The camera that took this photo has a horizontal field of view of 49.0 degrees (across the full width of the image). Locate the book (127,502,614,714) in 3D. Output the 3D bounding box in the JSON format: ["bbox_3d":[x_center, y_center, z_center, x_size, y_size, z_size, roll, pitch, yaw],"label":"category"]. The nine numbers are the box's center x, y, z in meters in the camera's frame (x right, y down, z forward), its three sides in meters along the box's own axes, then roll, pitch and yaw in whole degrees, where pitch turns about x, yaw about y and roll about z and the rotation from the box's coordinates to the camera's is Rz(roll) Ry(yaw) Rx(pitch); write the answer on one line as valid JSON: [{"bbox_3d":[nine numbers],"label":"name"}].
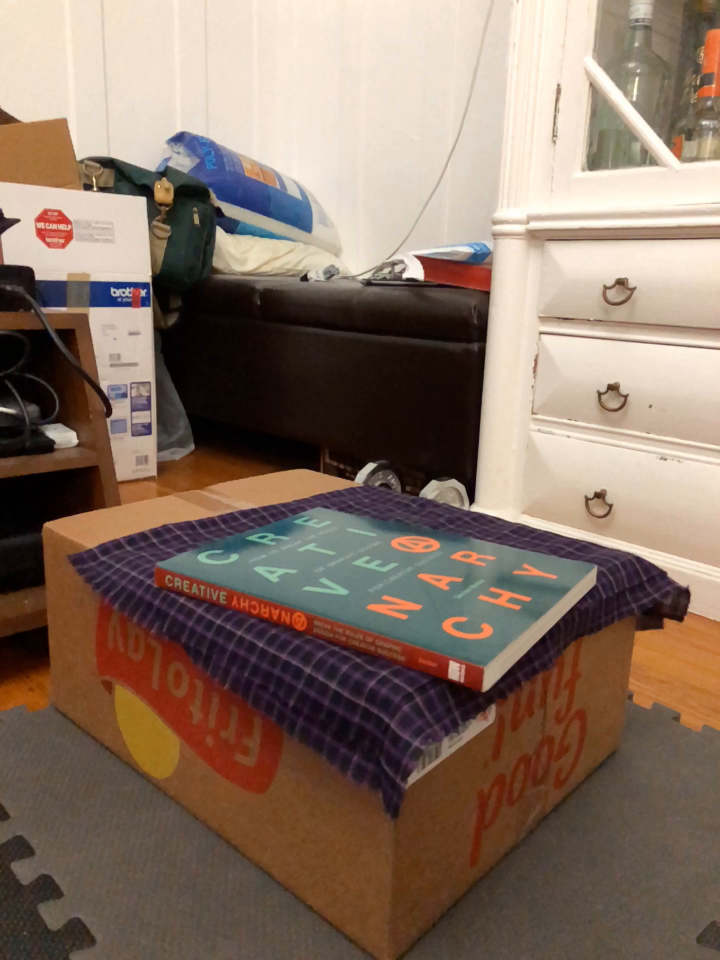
[{"bbox_3d":[0.012,0.076,0.603,0.300,0.020,0.221,11,16,31],"label":"book"}]
